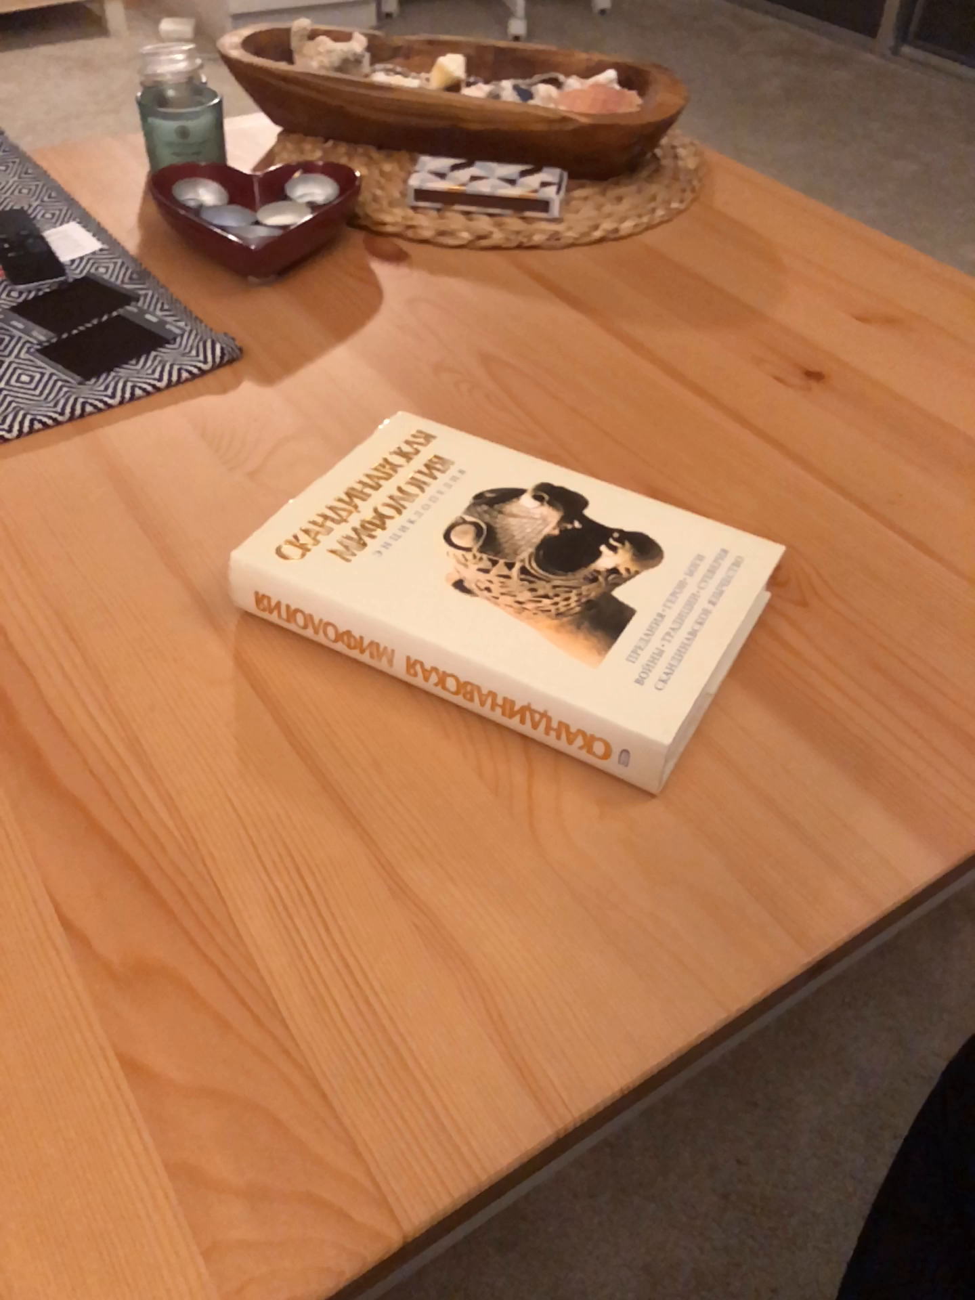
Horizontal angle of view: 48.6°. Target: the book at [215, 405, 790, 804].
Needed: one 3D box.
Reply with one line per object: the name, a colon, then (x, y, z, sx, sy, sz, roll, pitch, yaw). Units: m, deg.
book: (0.010, -0.034, 0.500, 0.215, 0.030, 0.151, 23, 47, 19)
